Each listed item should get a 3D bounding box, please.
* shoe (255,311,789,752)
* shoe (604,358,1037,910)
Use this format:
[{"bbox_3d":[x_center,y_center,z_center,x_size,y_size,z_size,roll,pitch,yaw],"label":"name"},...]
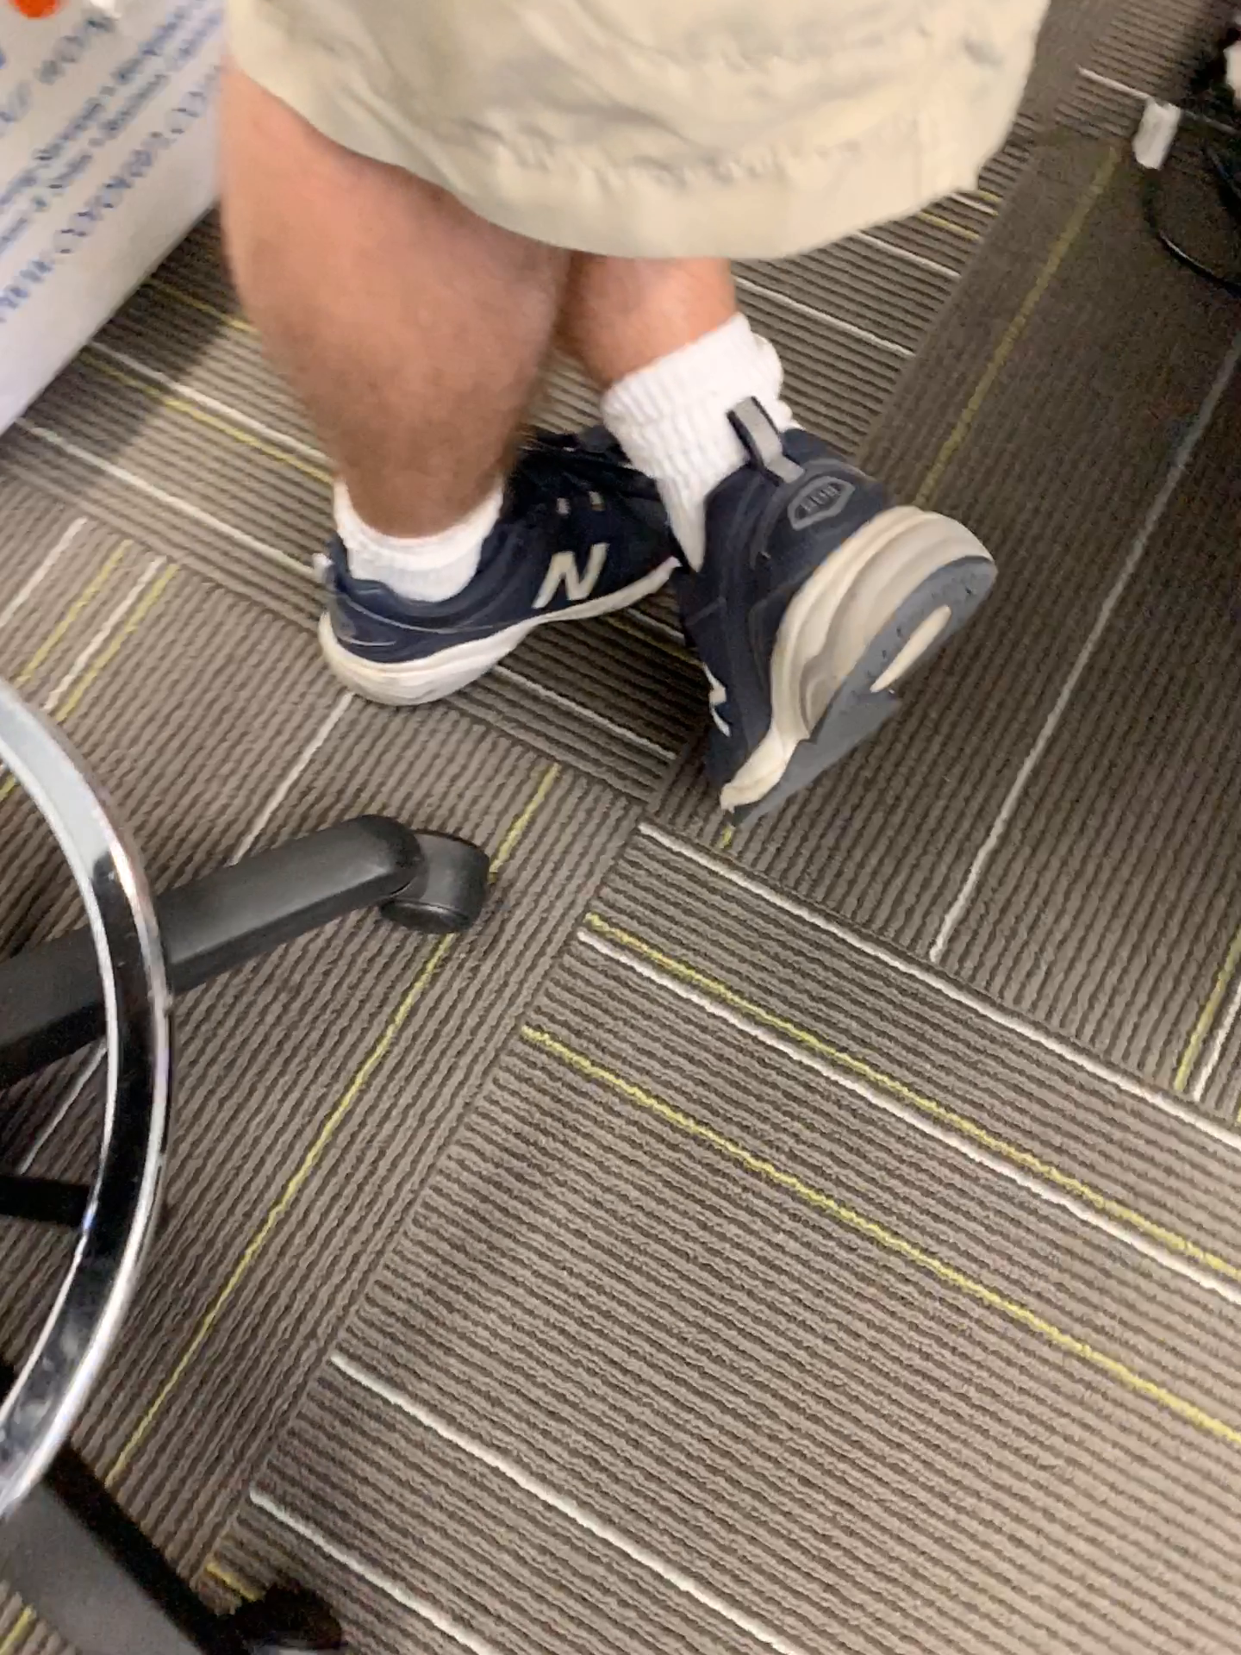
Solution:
[{"bbox_3d":[-0.056,-0.184,0.783,0.296,0.077,0.120,-32,73,-9],"label":"shoe"},{"bbox_3d":[0.083,-0.075,0.658,0.122,0.293,0.129,-37,77,-9],"label":"shoe"}]
